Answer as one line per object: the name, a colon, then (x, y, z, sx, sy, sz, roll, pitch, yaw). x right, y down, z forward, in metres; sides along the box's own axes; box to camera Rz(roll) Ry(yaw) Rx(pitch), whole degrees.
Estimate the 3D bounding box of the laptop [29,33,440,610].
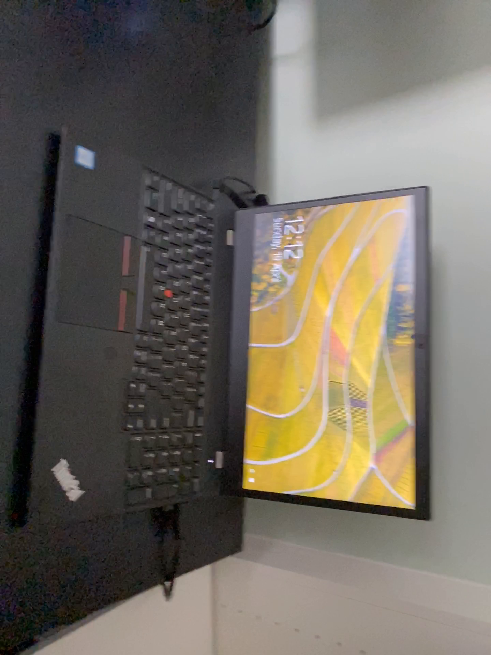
laptop: (0.016, 0.008, 0.481, 0.295, 0.231, 0.351, 13, 76, -52)
